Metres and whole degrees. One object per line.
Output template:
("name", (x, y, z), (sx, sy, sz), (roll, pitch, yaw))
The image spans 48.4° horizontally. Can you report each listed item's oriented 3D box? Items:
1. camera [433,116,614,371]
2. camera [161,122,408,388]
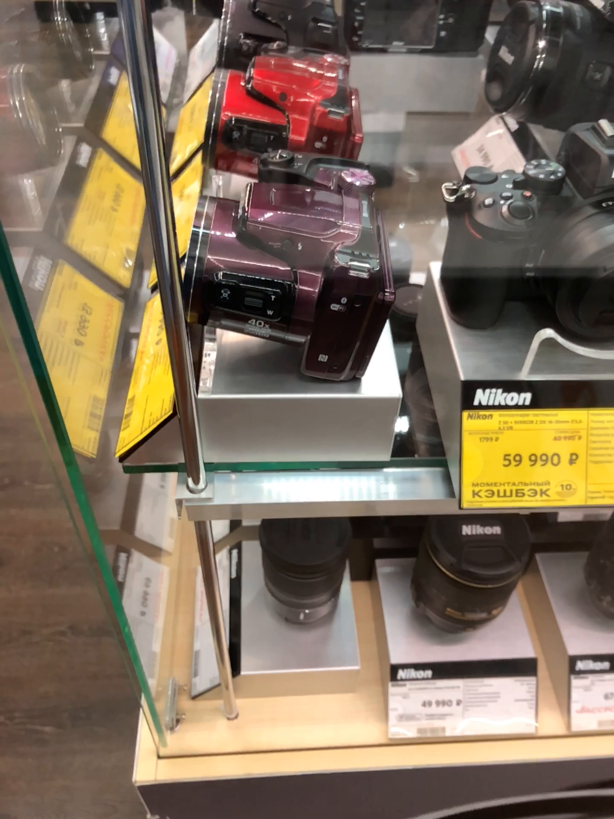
("camera", (0.145, -0.087, 0.357), (0.133, 0.084, 0.101), (2, 47, -1))
("camera", (-0.010, -0.079, 0.343), (0.100, 0.080, 0.110), (2, 47, -2))
